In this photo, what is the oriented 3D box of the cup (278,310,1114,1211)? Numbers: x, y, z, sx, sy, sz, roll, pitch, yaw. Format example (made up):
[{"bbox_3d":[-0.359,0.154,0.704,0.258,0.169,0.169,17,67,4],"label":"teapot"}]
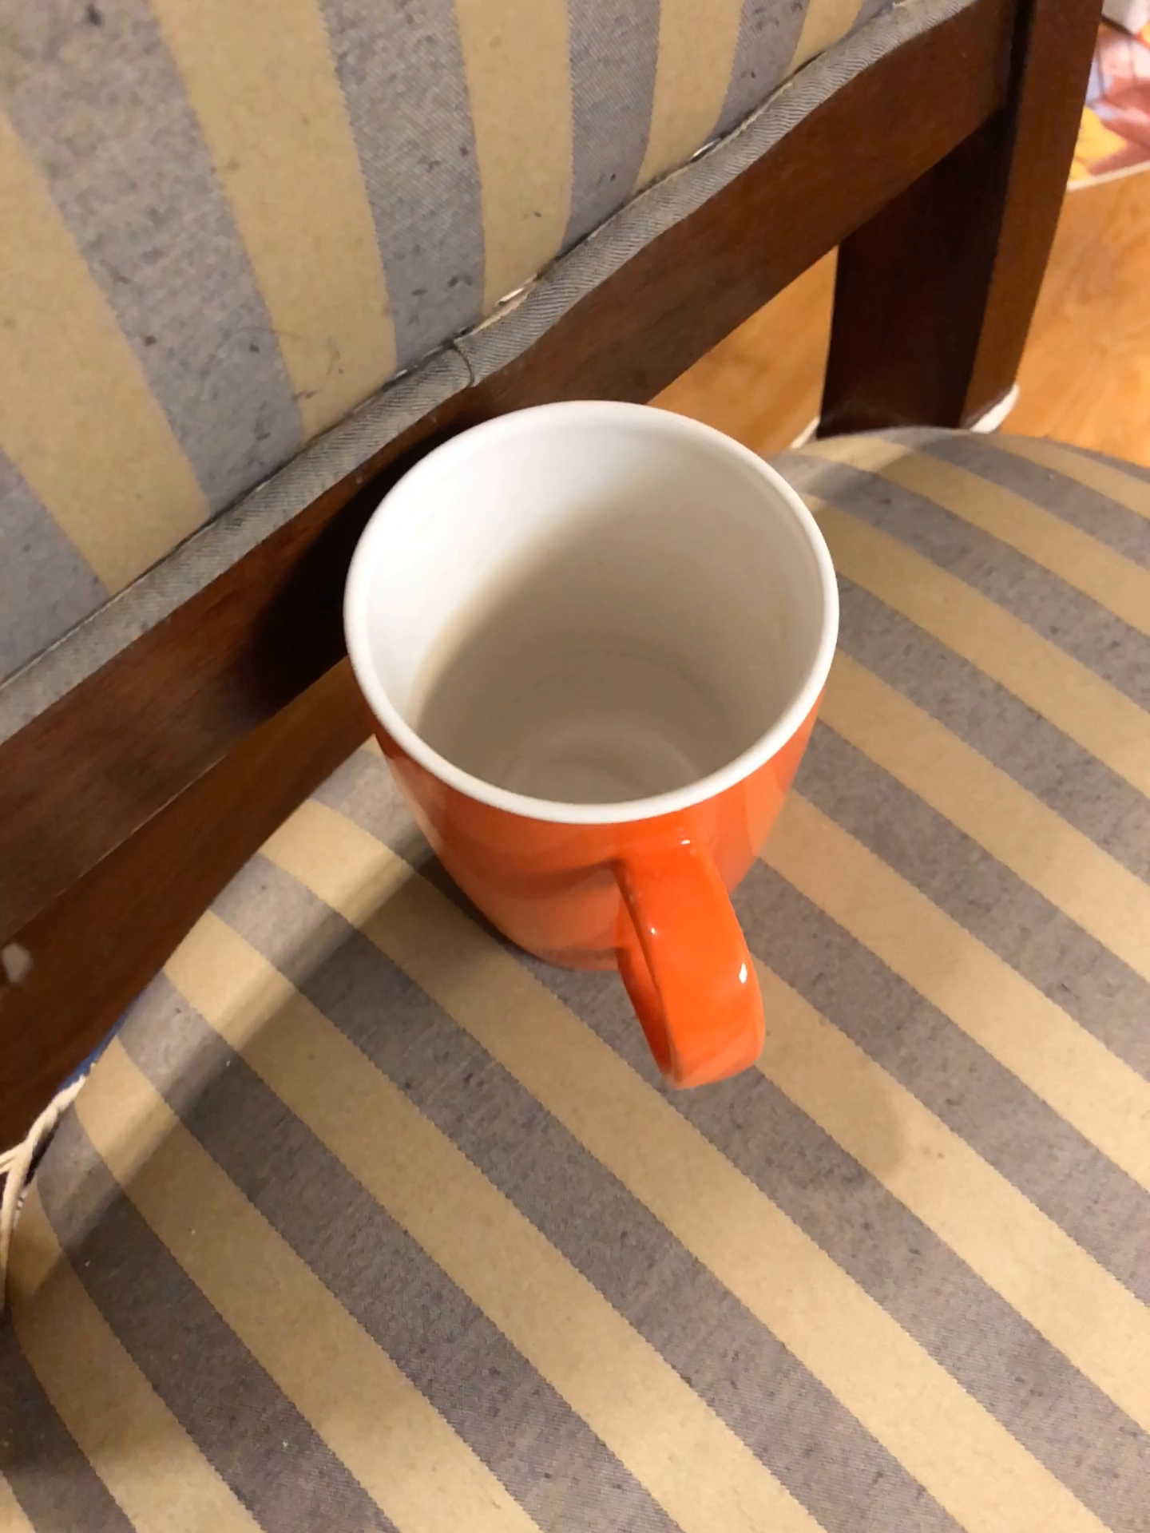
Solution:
[{"bbox_3d":[0.014,0.004,0.246,0.090,0.100,0.120,-20,67,-8],"label":"cup"}]
